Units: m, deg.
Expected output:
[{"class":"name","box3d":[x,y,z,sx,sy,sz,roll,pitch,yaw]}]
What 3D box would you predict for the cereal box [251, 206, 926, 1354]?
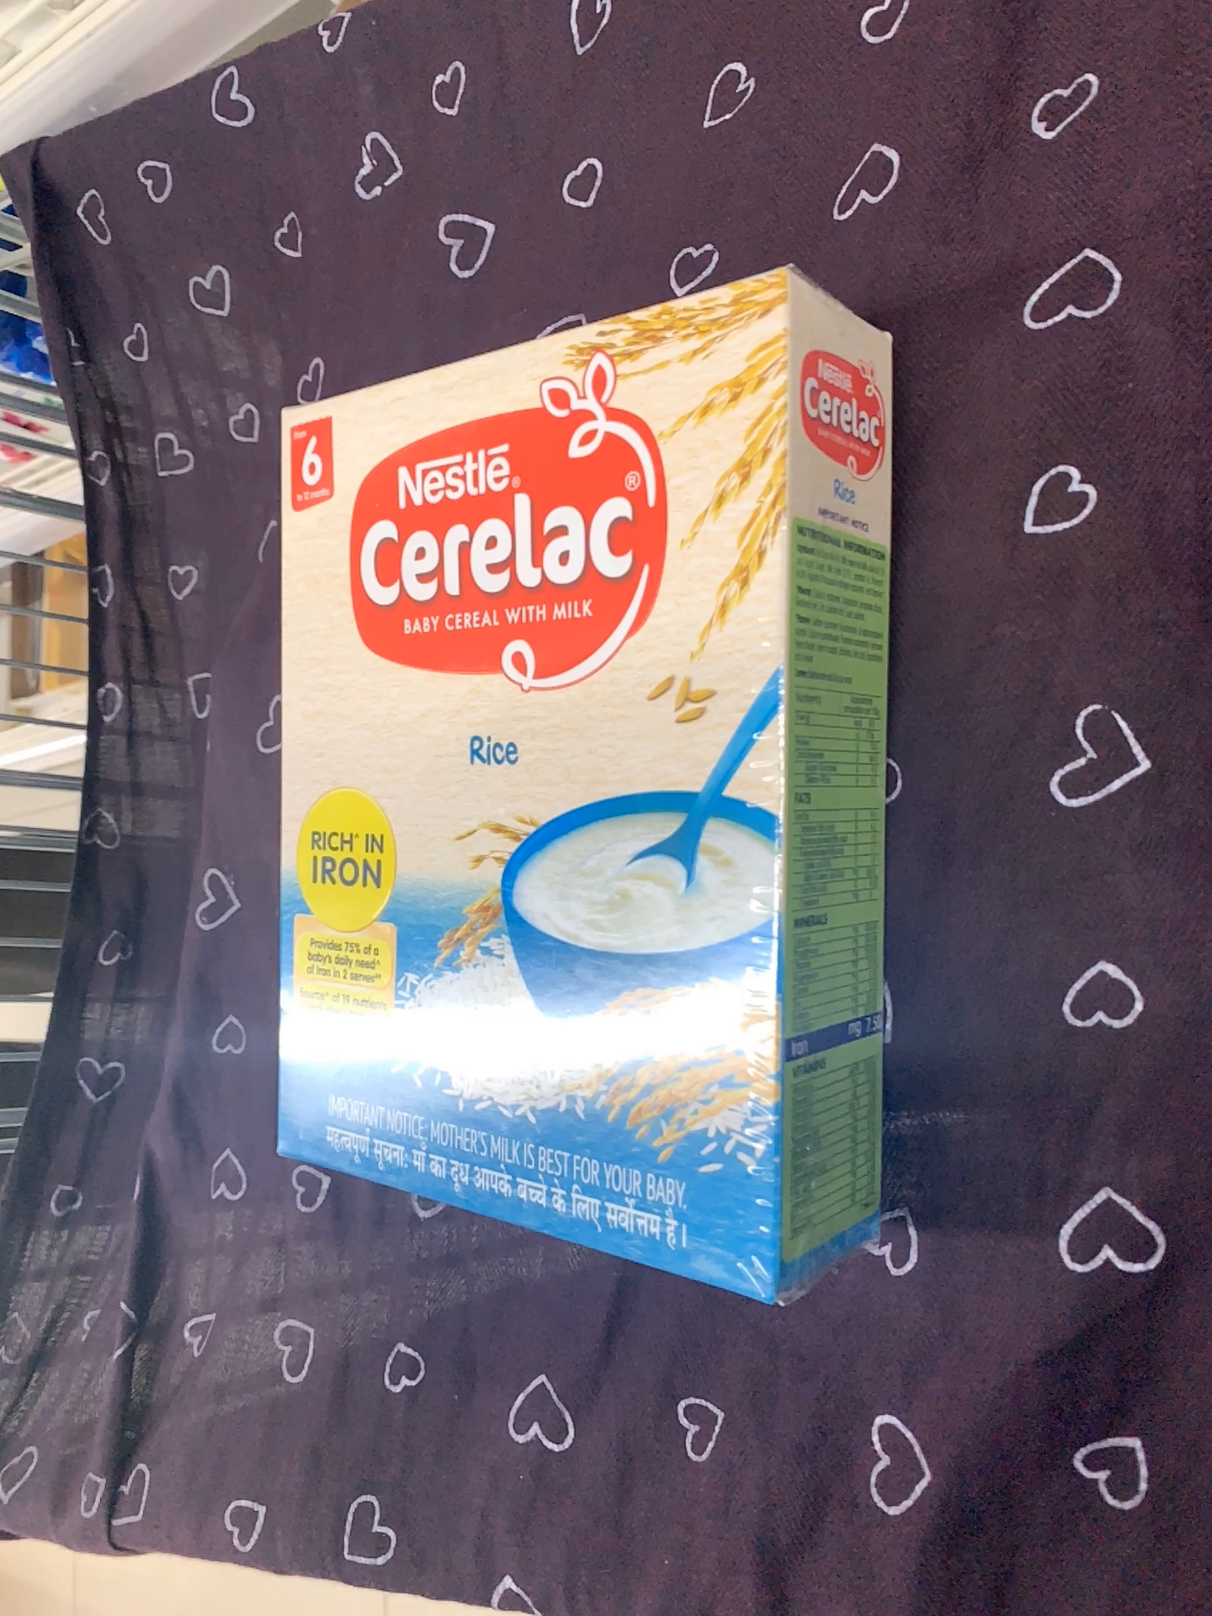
[{"class":"cereal box","box3d":[-0.013,-0.005,0.282,0.161,0.040,0.200,0,90,38]}]
